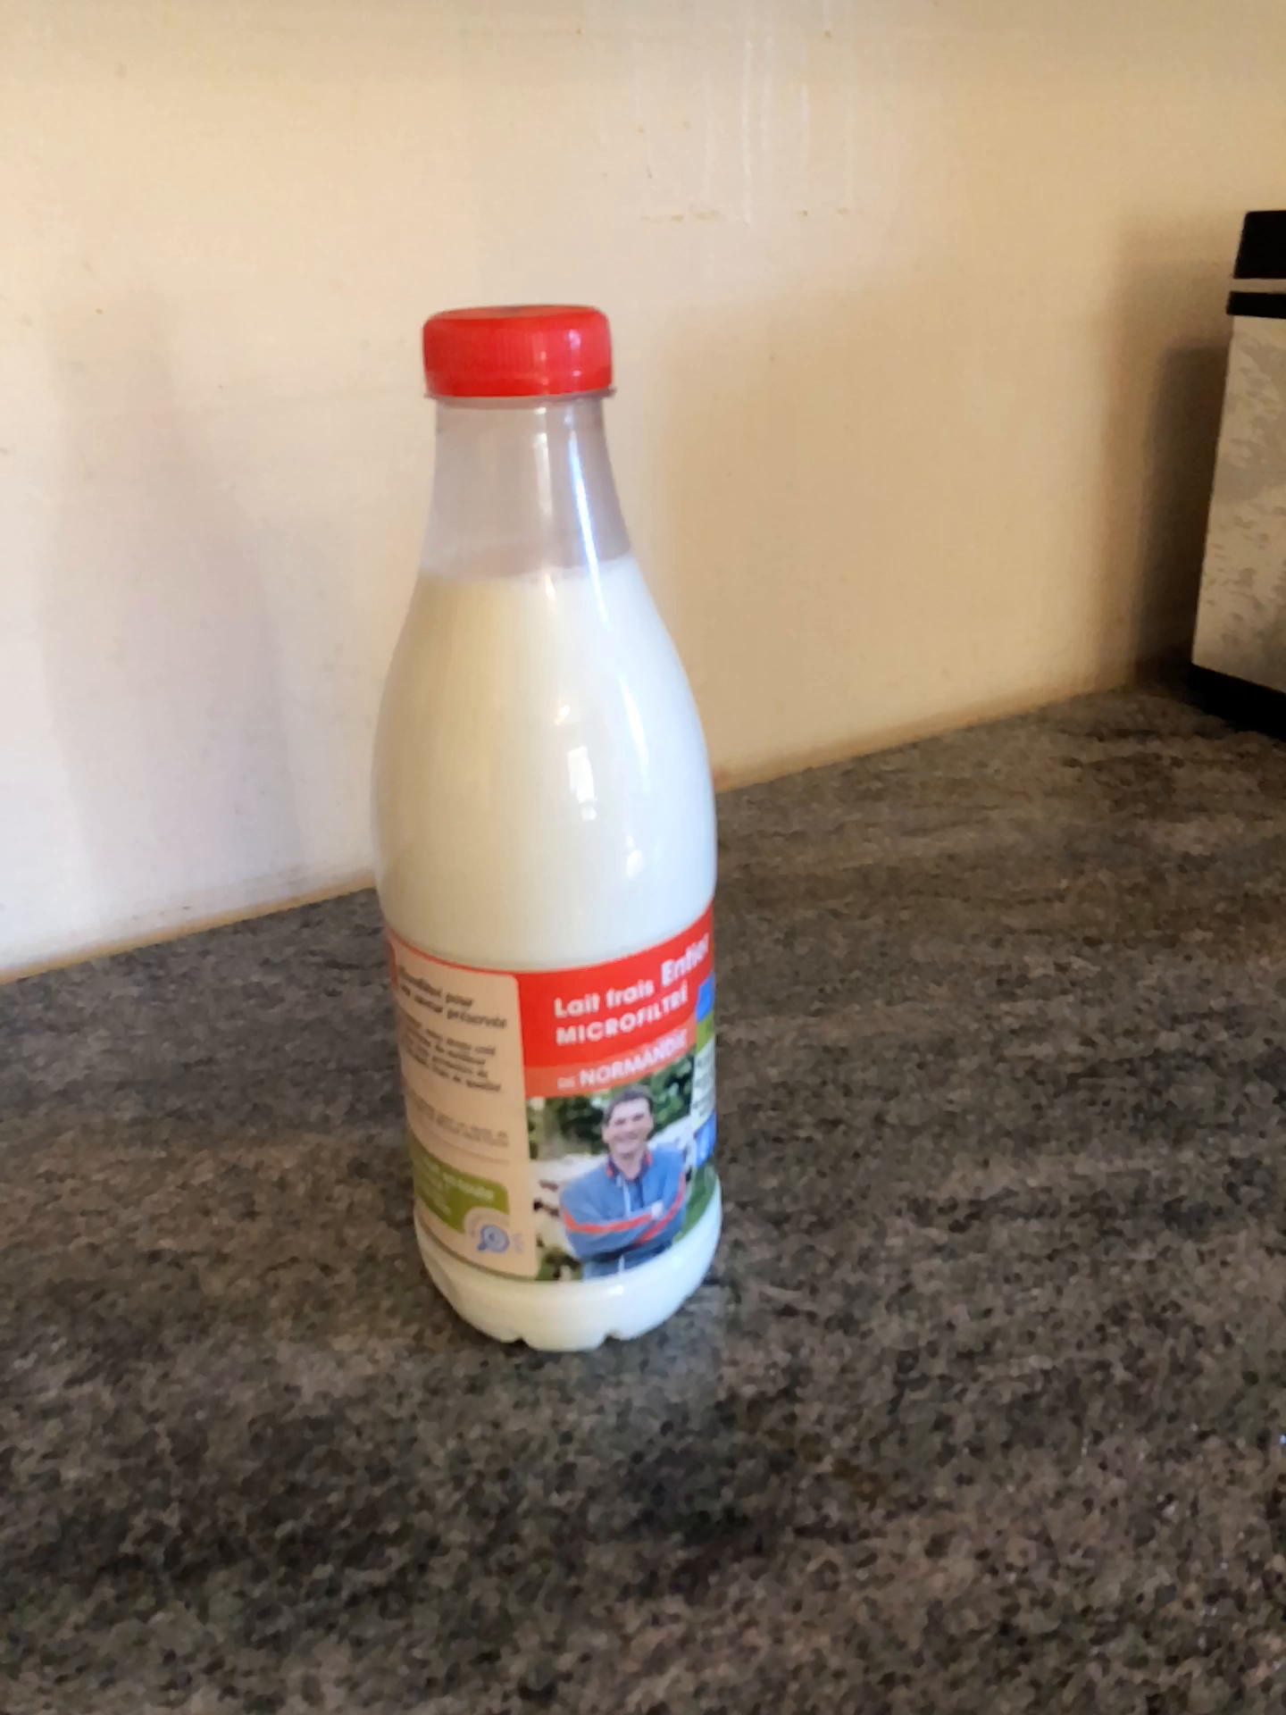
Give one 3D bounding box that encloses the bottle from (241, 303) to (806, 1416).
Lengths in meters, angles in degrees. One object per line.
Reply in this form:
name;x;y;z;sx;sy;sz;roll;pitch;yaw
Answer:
bottle;-0.021;-0.002;0.350;0.080;0.249;0.090;20;32;41
